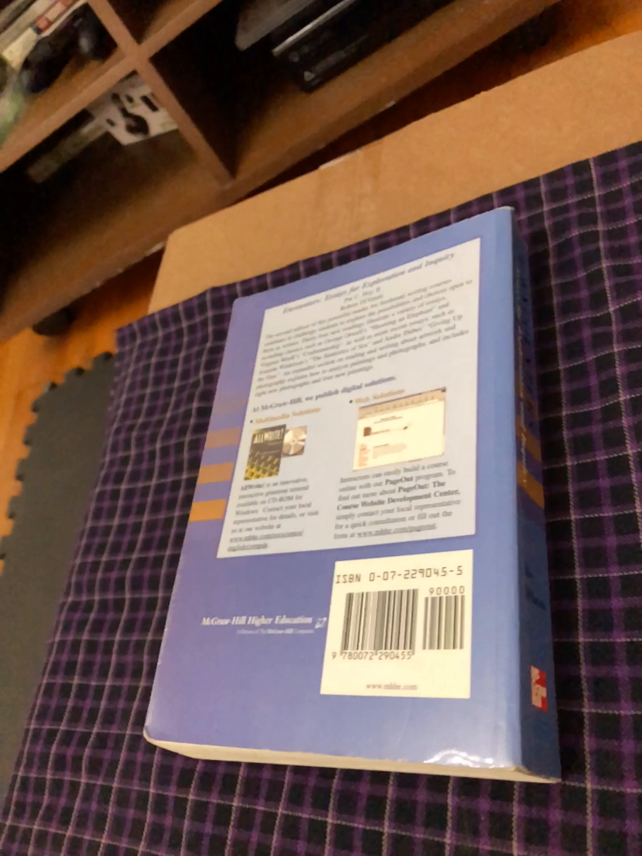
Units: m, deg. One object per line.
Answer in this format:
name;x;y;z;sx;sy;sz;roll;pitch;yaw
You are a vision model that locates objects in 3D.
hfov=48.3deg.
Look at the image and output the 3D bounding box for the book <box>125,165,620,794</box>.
book;0.018;0.017;0.313;0.180;0.040;0.241;-13;55;32
